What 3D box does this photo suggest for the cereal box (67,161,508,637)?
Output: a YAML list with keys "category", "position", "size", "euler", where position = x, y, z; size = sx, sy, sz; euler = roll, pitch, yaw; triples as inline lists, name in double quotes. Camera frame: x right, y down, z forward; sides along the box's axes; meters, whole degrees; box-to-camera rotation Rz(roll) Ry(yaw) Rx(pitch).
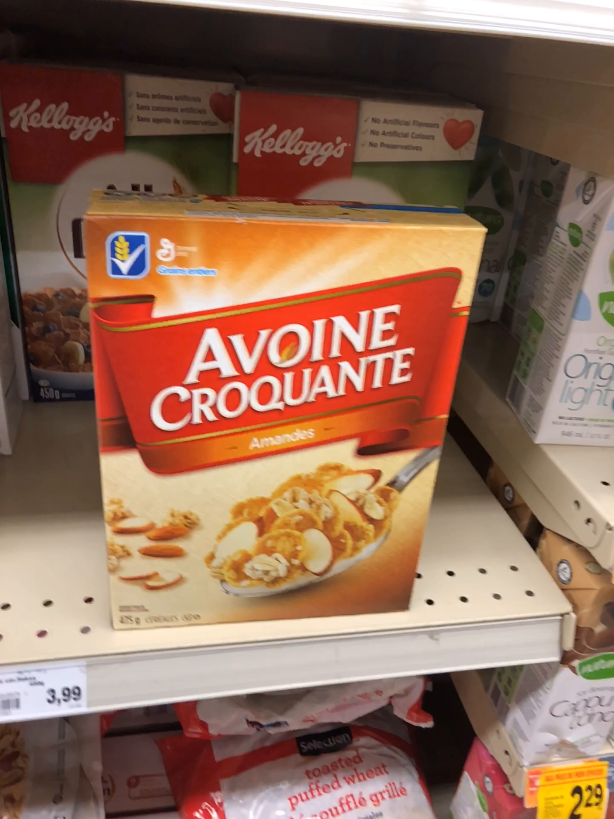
- category: "cereal box"
  position: [-0.019, 0.008, 0.395]
  size: [0.200, 0.268, 0.060]
  euler: [0, 30, -11]
